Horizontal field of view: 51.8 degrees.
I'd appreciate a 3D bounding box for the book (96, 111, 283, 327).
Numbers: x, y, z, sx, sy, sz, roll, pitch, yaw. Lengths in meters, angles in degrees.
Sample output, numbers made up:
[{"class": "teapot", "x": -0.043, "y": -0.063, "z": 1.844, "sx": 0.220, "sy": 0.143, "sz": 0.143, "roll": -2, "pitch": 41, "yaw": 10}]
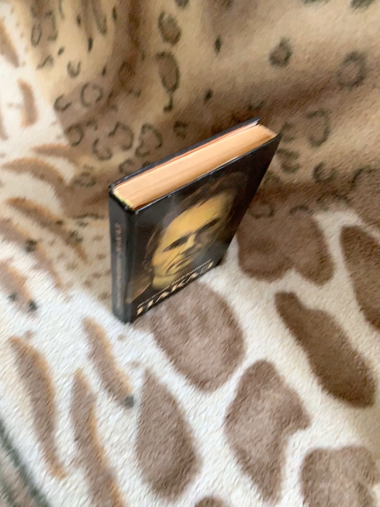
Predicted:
[{"class": "book", "x": -0.010, "y": -0.014, "z": 0.338, "sx": 0.131, "sy": 0.199, "sz": 0.030, "roll": -31, "pitch": 71, "yaw": -23}]
